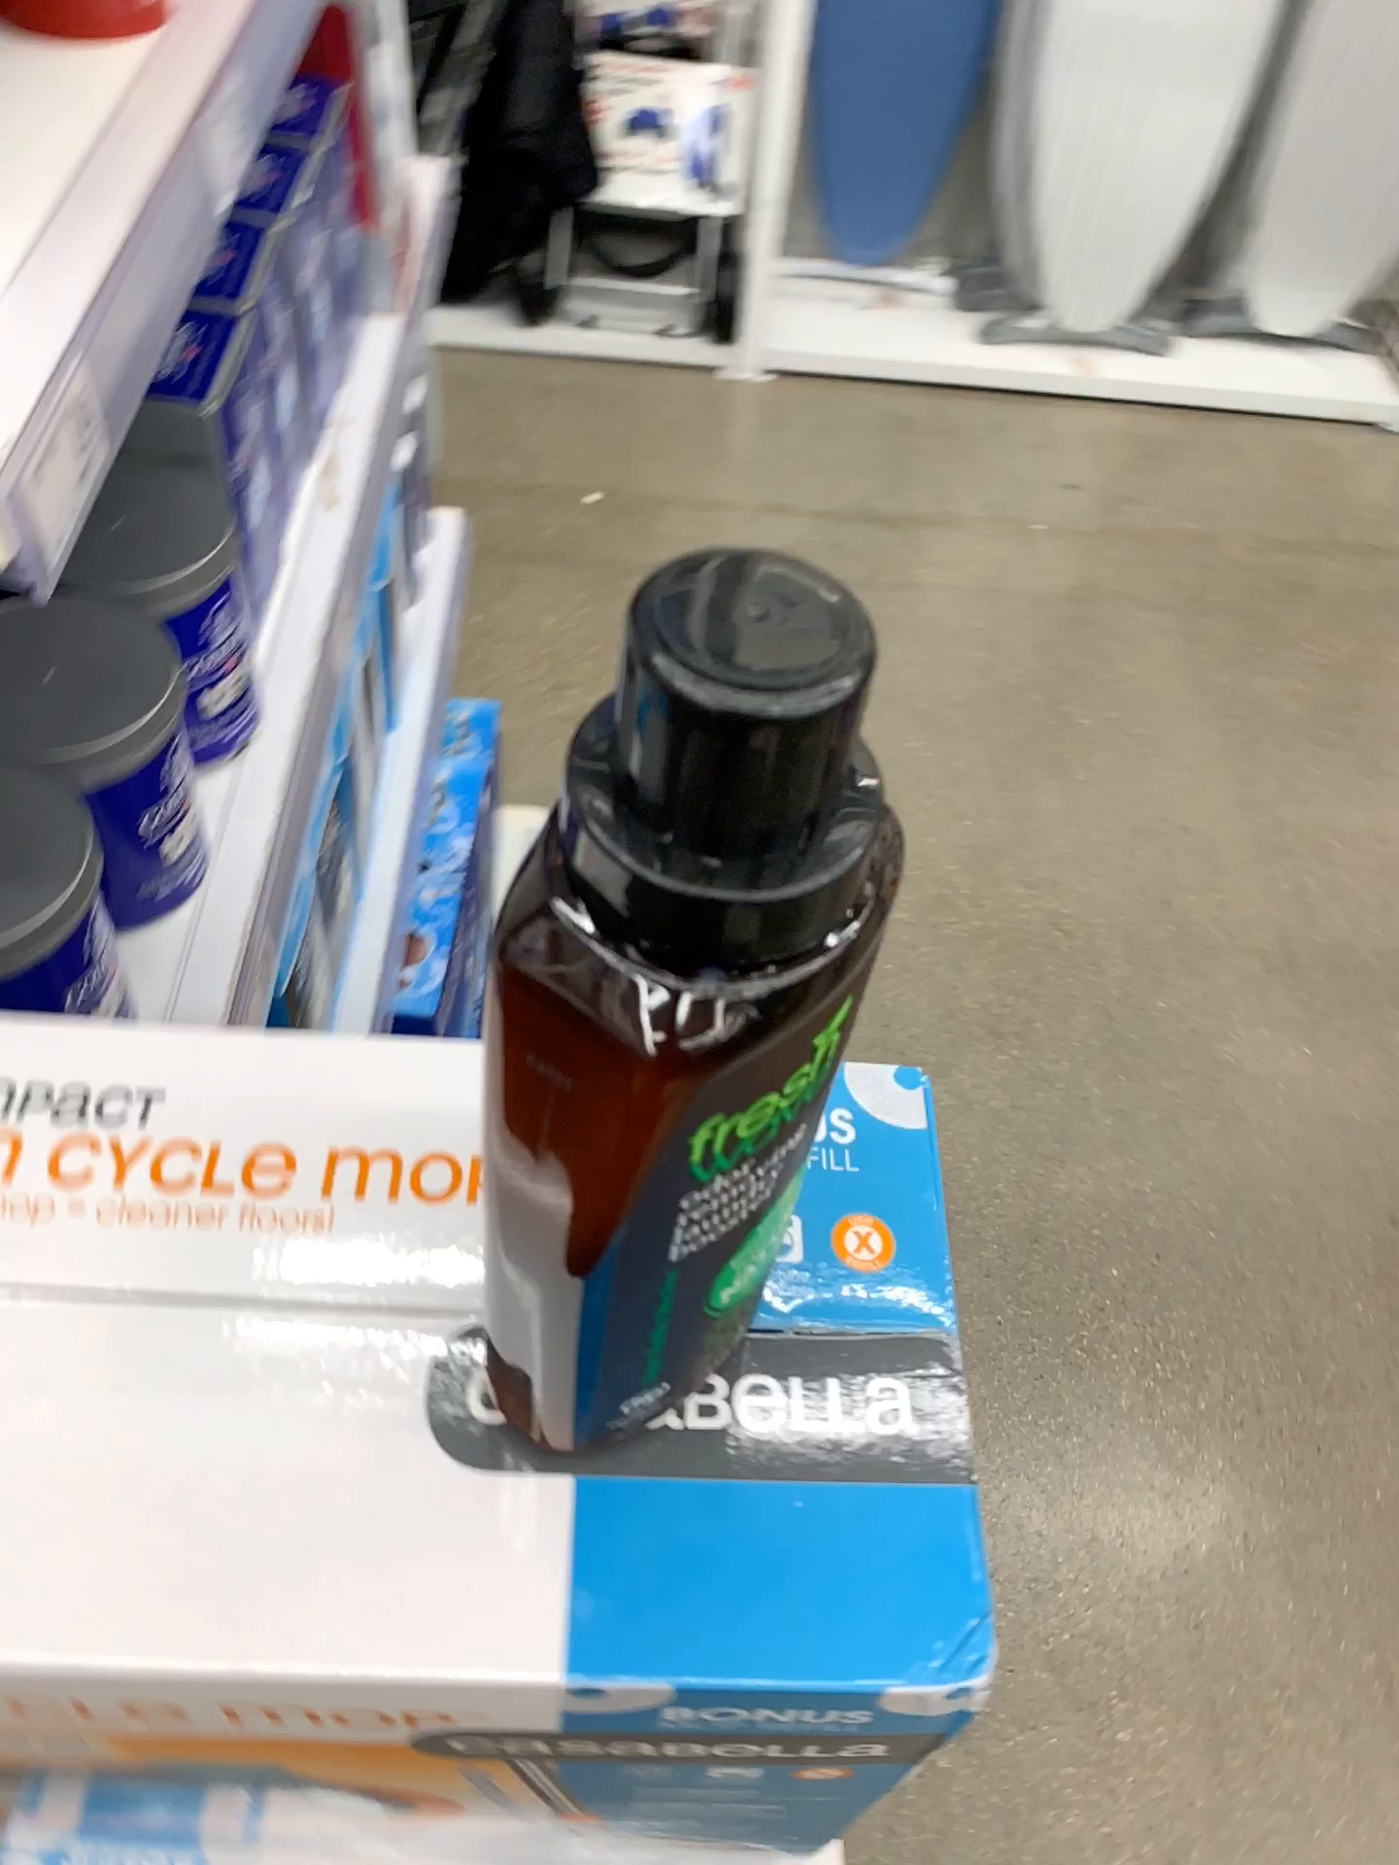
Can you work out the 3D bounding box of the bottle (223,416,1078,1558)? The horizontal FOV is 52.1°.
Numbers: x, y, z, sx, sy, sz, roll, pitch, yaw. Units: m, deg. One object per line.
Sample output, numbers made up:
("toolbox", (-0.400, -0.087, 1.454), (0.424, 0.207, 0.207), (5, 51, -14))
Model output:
("bottle", (-0.011, 0.027, 0.279), (0.070, 0.209, 0.100), (35, 56, 21))
